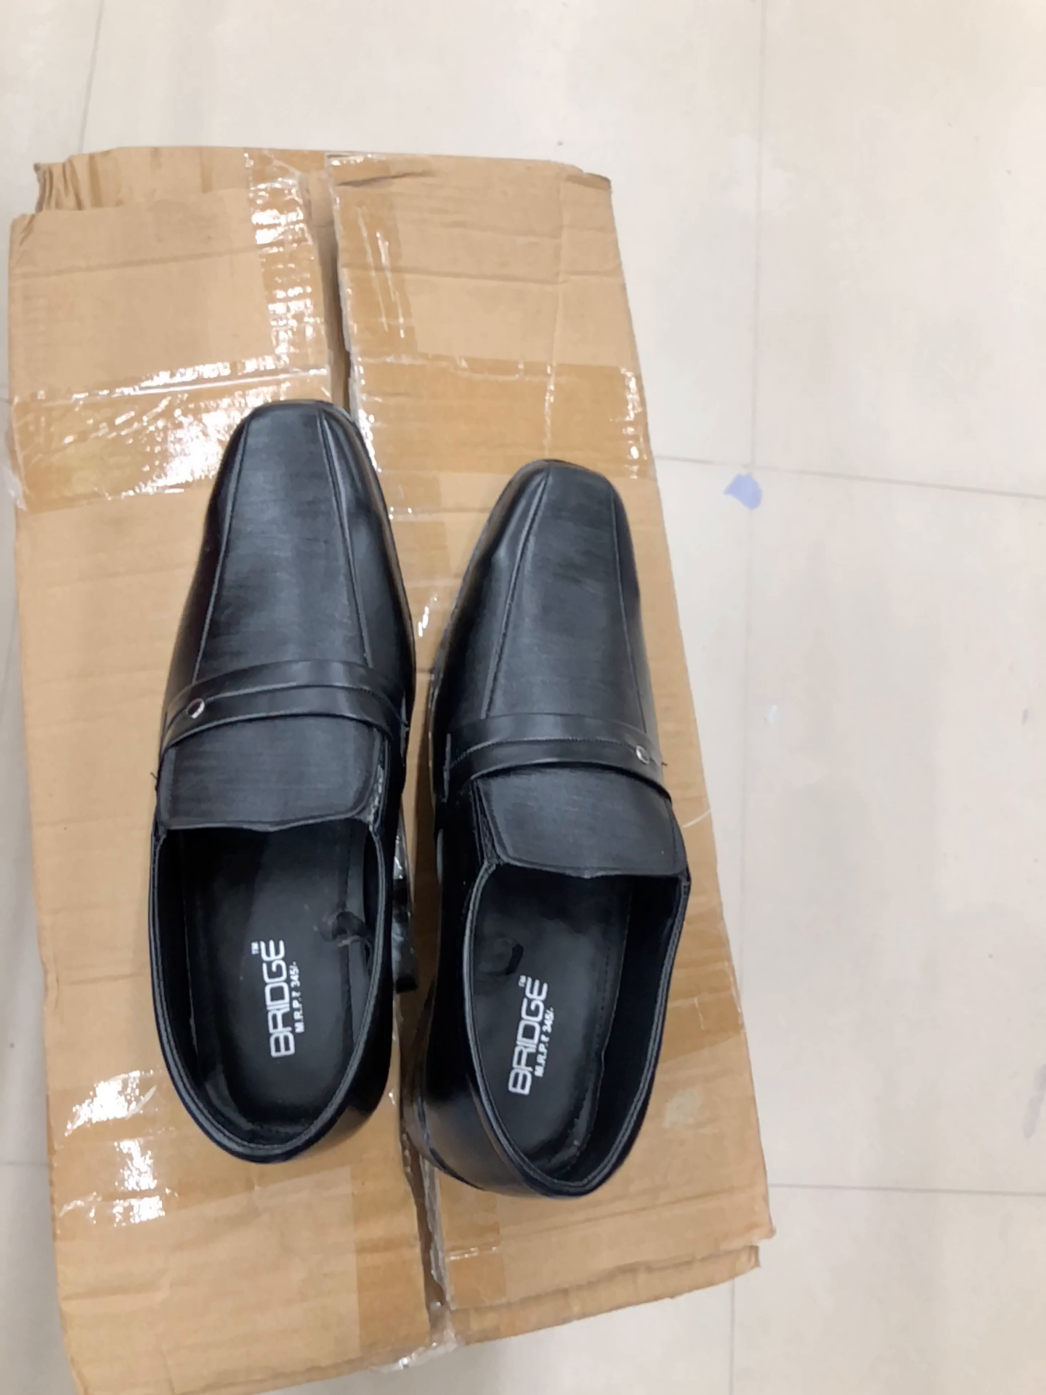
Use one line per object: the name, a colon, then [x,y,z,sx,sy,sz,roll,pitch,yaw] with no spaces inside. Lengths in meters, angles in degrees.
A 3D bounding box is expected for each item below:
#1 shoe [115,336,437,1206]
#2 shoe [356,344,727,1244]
shoe: [-0.092,0.025,0.455,0.100,0.130,0.290,-1,80,-8]
shoe: [0.005,0.037,0.475,0.100,0.130,0.310,6,79,-19]
